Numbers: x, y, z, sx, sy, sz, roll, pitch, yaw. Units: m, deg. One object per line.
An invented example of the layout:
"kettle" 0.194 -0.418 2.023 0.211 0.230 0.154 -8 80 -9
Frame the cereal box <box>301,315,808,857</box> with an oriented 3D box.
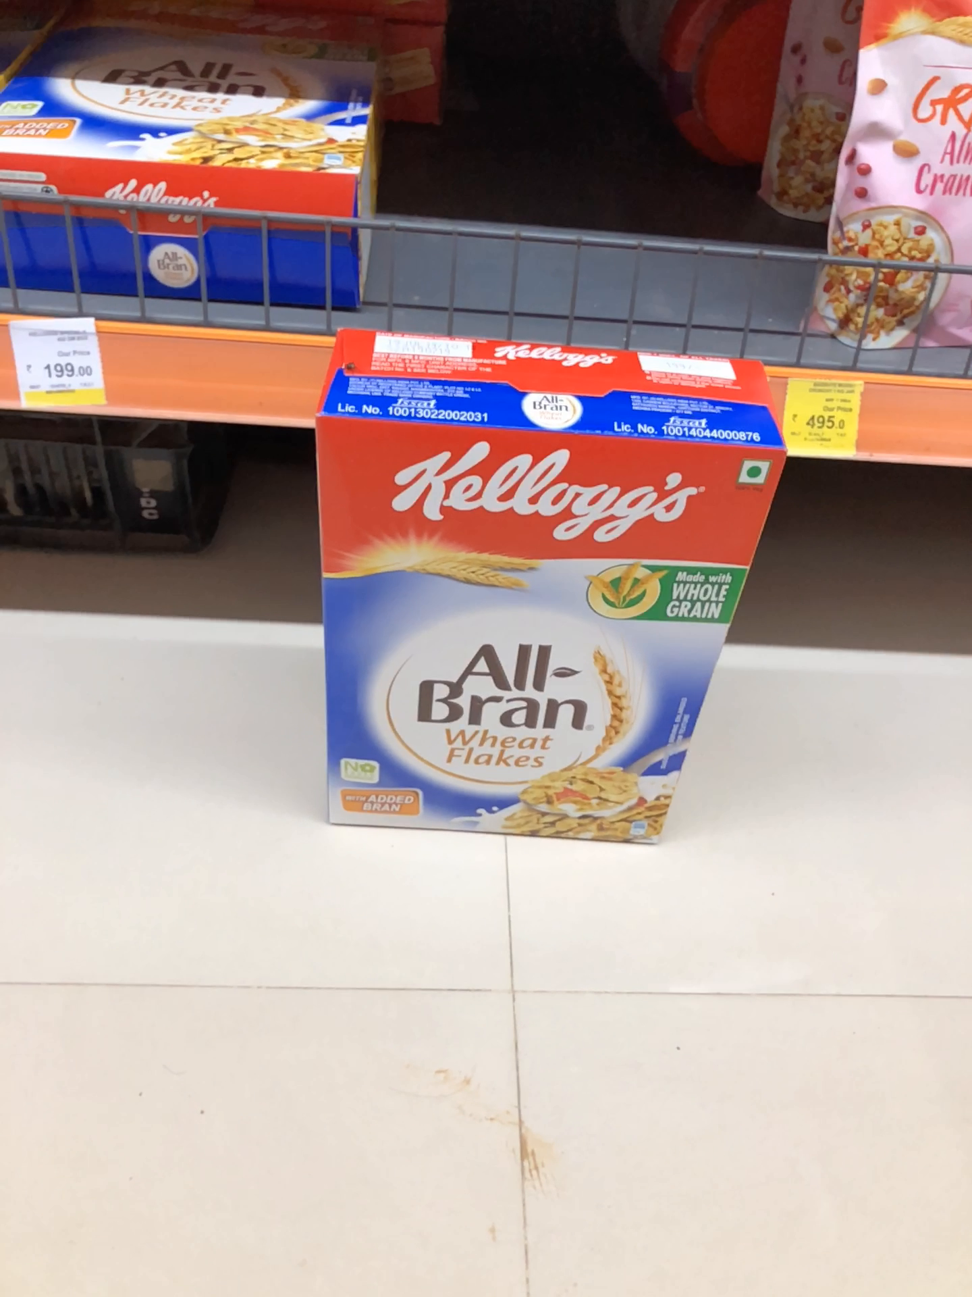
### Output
"cereal box" 0.016 -0.013 0.518 0.190 0.258 0.081 4 44 -3
